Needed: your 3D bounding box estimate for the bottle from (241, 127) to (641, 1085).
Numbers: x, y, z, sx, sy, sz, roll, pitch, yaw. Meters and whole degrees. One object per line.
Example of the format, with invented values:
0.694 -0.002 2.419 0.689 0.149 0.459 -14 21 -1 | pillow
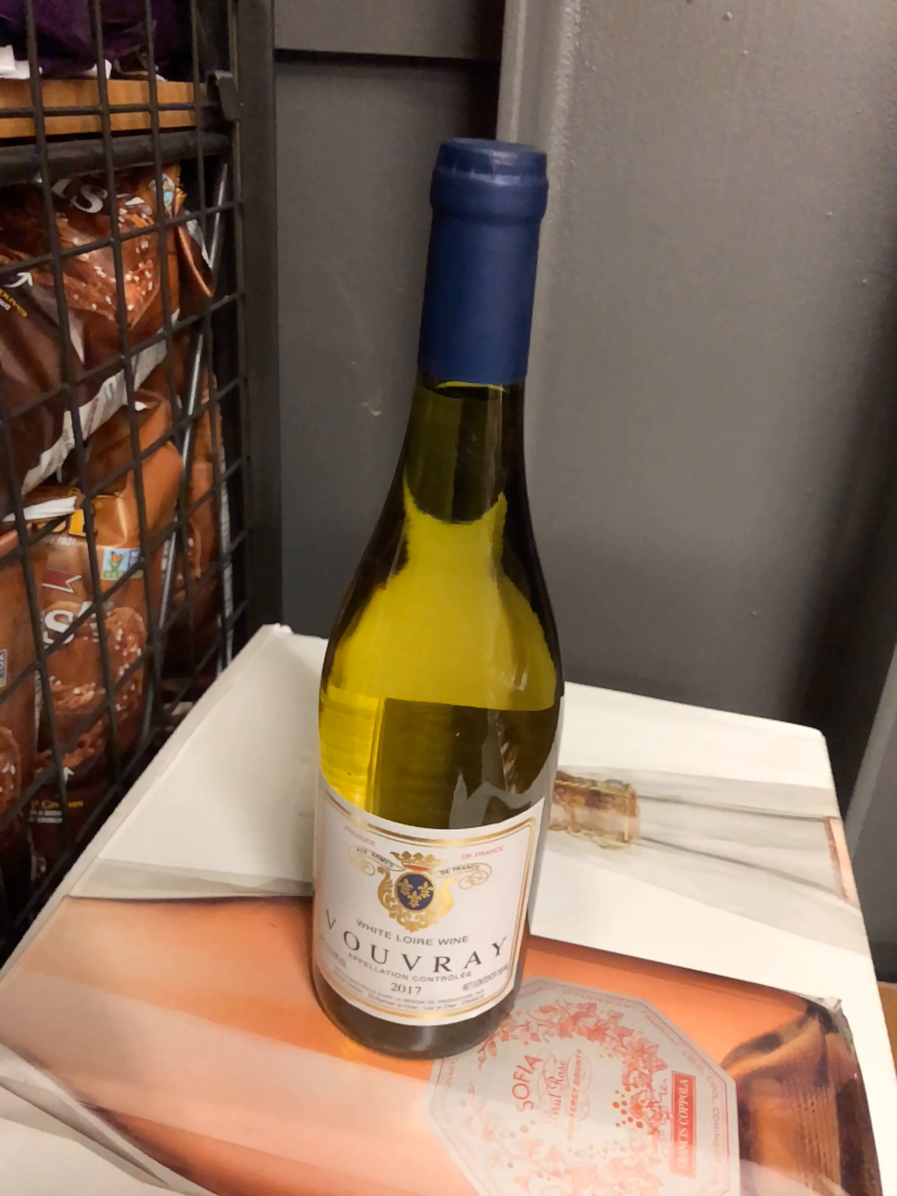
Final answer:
-0.003 0.012 0.310 0.084 0.281 0.084 3 27 -1 | bottle
